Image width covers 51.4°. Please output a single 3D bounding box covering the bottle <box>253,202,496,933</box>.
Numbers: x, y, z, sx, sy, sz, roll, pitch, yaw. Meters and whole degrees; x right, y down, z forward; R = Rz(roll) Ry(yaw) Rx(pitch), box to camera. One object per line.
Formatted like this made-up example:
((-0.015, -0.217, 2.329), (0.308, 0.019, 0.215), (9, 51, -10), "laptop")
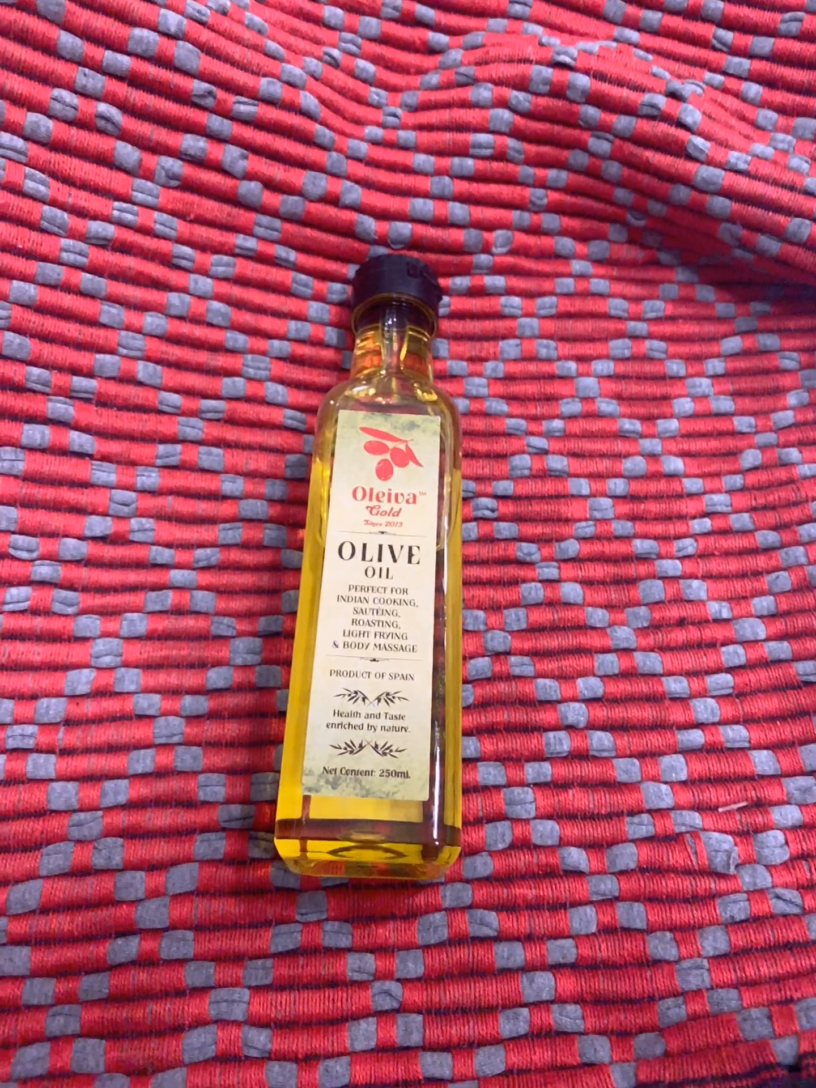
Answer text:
((-0.005, -0.005, 0.246), (0.050, 0.050, 0.210), (3, 62, -1), "bottle")
